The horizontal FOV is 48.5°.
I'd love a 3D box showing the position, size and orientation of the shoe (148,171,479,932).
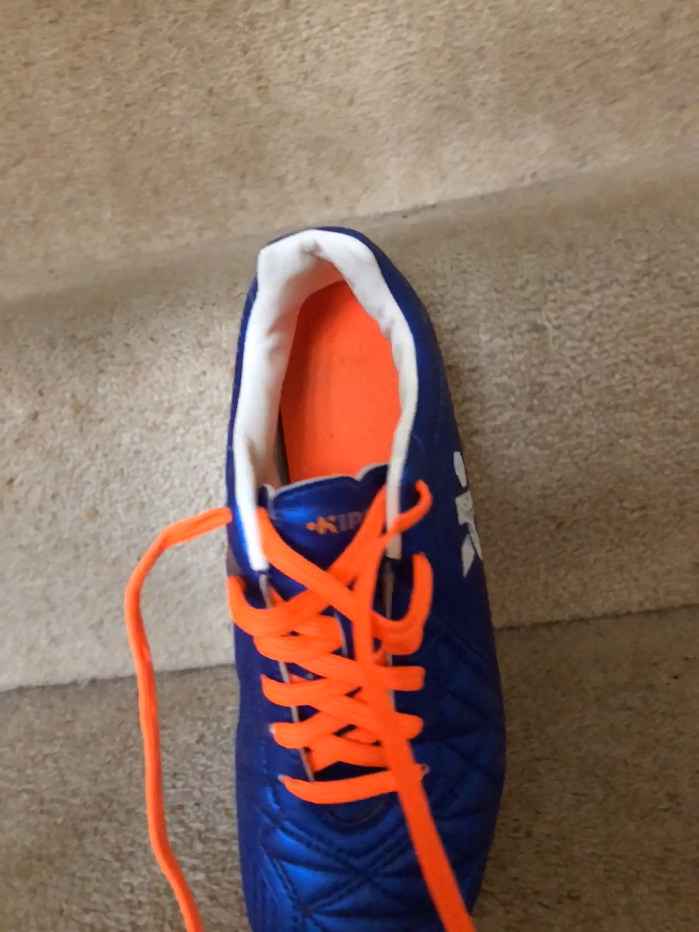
[{"bbox_3d":[-0.005,0.035,0.237,0.070,0.211,0.100,-4,-15,7],"label":"shoe"}]
